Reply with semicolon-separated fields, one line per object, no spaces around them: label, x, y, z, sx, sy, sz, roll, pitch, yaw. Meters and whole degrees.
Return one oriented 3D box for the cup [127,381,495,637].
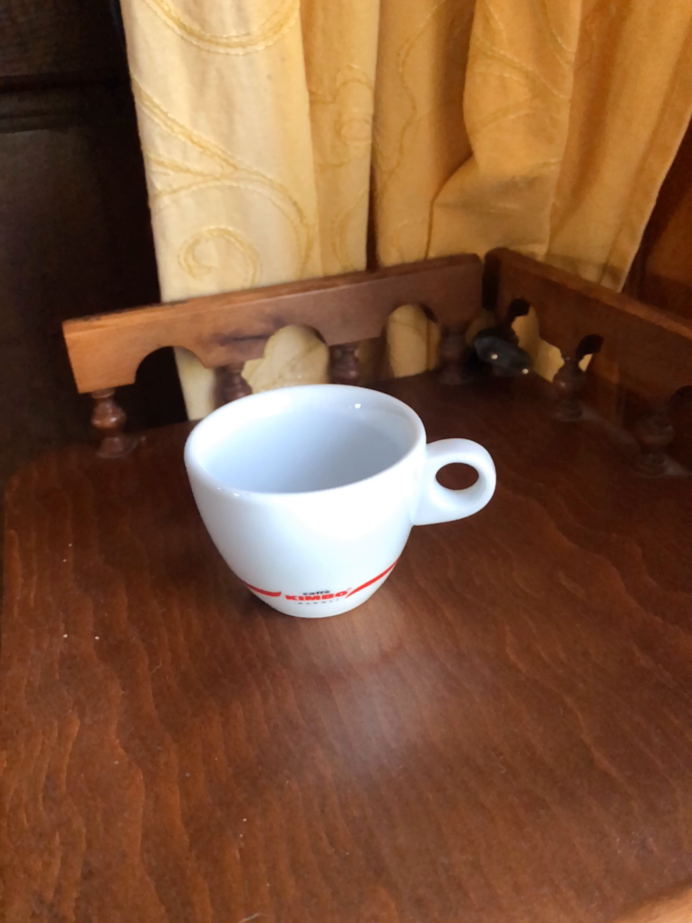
cup;-0.006;0.013;0.279;0.110;0.050;0.091;-1;29;6
